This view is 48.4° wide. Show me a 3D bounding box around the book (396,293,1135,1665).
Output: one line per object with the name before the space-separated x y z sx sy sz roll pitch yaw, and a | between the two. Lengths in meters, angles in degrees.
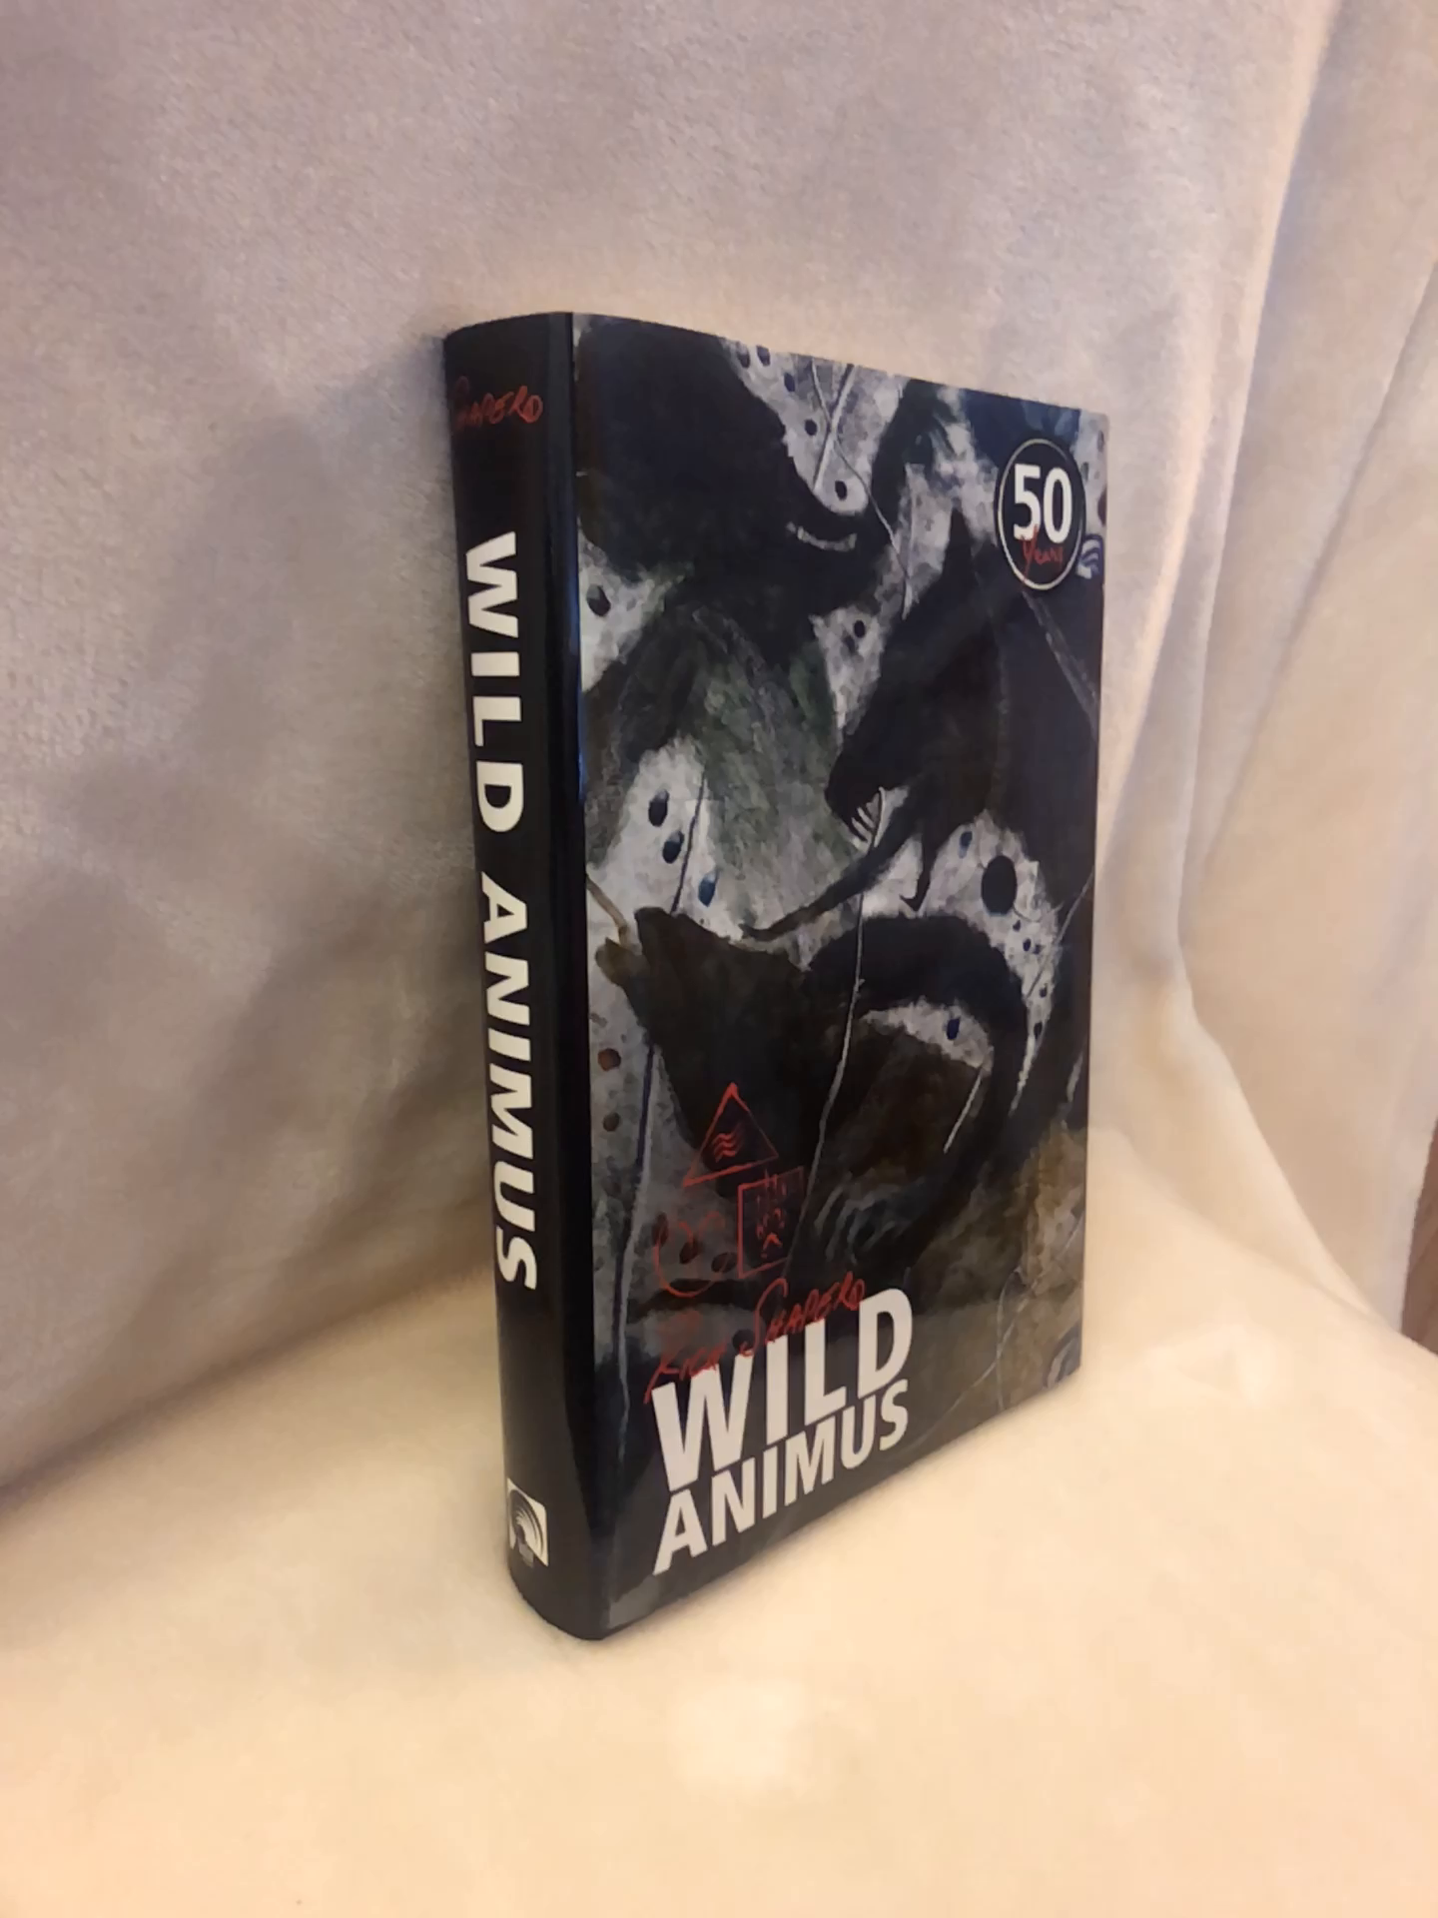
book | 0.023 -0.004 0.322 0.043 0.217 0.164 6 12 43
